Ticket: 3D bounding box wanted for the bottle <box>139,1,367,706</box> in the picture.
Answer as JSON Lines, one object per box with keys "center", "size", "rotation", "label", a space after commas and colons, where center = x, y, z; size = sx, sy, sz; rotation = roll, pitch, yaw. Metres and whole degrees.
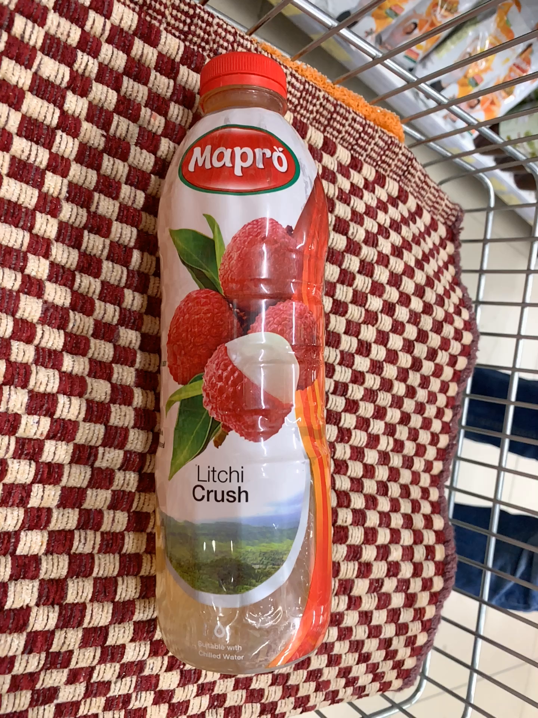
{"center": [0.000, -0.002, 0.236], "size": [0.080, 0.070, 0.240], "rotation": [0, 92, -79], "label": "bottle"}
